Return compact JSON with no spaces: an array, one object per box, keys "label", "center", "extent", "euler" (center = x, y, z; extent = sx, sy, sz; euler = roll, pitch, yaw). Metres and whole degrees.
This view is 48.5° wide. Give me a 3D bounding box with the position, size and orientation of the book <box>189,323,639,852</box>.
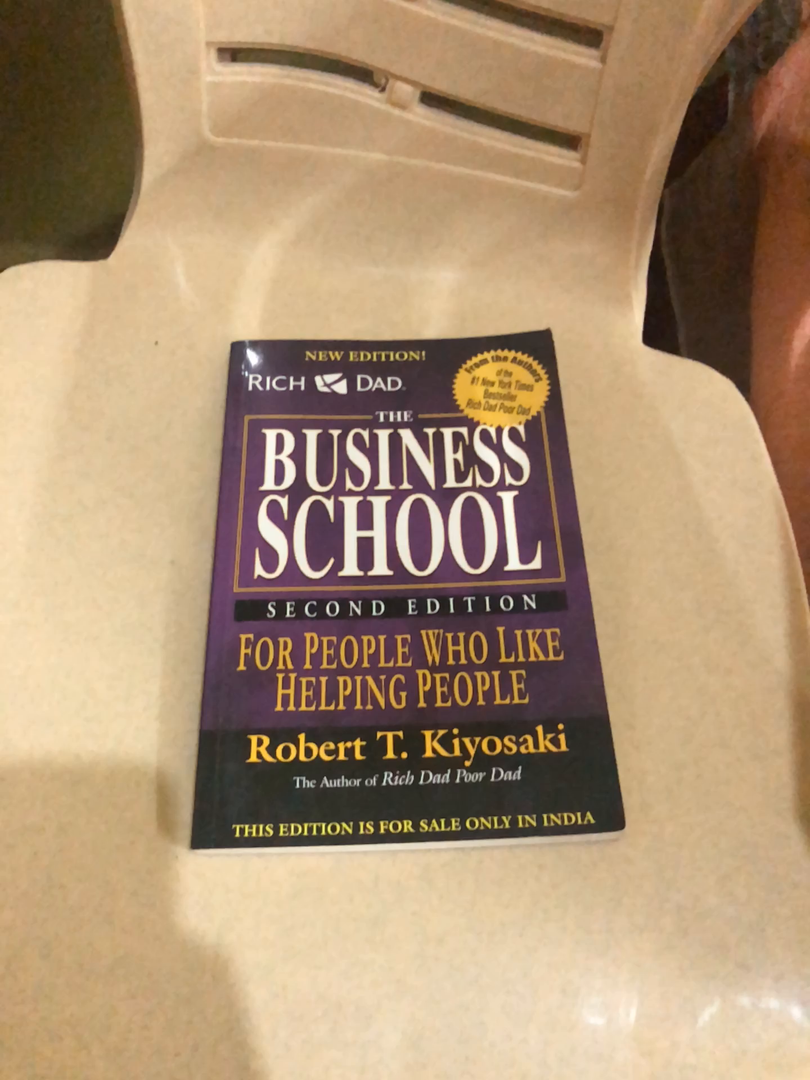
[{"label":"book","center":[-0.001,0.010,0.392],"extent":[0.170,0.020,0.230],"euler":[-2,68,-2]}]
